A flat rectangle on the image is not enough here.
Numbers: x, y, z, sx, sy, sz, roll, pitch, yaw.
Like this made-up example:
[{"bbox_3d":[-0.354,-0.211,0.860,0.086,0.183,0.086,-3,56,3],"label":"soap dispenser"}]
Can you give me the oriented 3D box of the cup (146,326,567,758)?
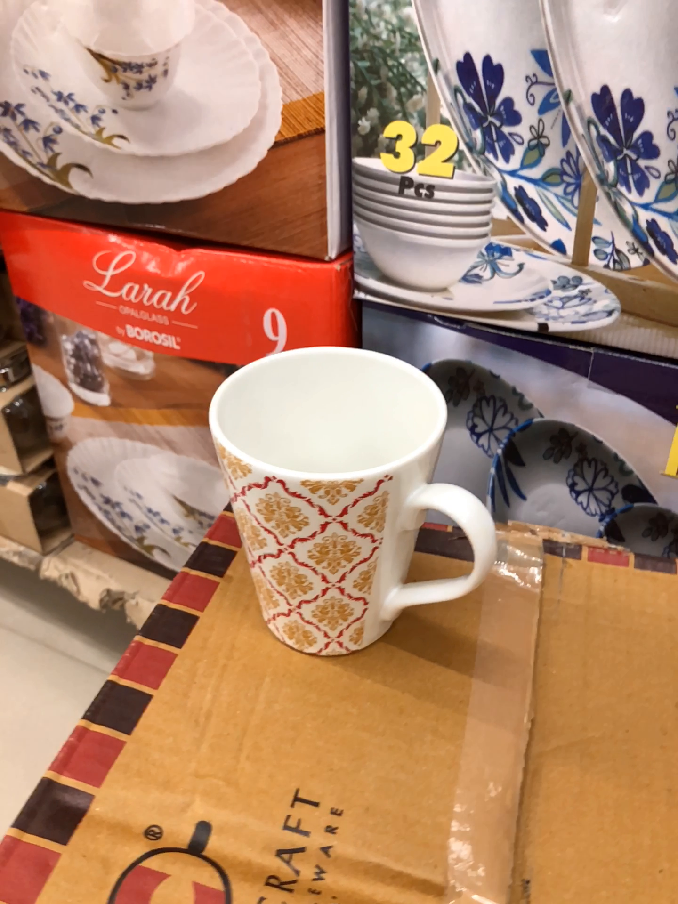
[{"bbox_3d":[0.007,0.023,0.279,0.110,0.089,0.091,24,40,34],"label":"cup"}]
